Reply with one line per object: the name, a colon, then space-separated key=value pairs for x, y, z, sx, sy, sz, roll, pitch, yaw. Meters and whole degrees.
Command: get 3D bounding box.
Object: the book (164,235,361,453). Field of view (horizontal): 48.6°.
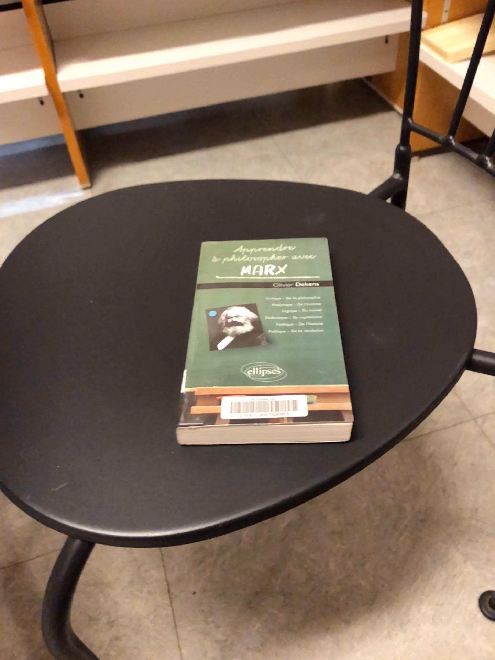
book: x=0.012 y=0.000 z=0.376 sx=0.110 sy=0.024 sz=0.178 roll=-1 pitch=46 yaw=4
